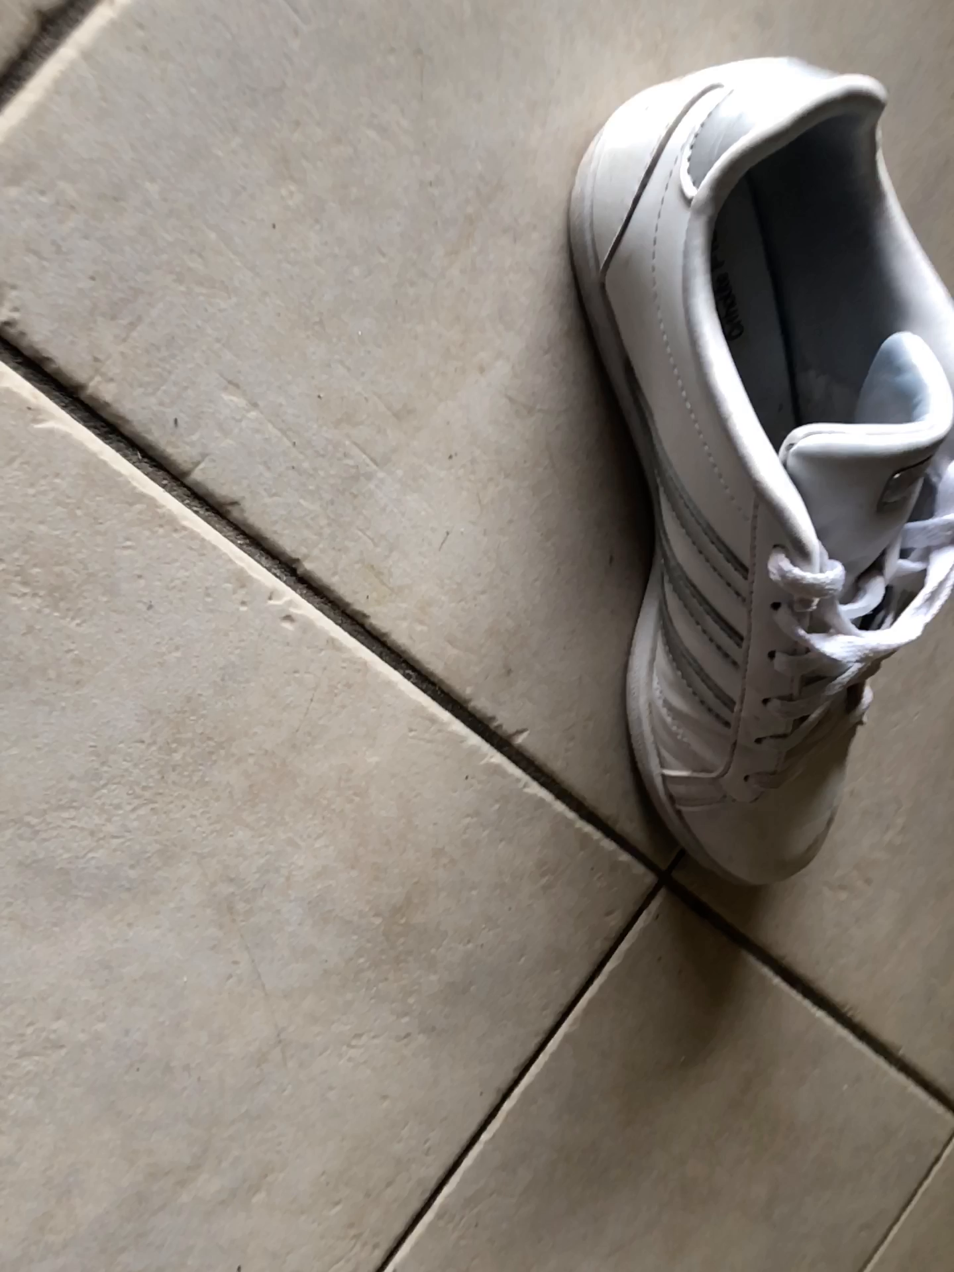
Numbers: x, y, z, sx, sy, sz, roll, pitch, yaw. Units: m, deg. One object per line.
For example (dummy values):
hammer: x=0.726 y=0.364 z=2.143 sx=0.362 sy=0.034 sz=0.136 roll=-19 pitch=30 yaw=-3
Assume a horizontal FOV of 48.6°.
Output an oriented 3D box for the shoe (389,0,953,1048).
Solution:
shoe: x=0.070 y=-0.033 z=0.300 sx=0.090 sy=0.099 sz=0.271 roll=-25 pitch=117 yaw=-22
